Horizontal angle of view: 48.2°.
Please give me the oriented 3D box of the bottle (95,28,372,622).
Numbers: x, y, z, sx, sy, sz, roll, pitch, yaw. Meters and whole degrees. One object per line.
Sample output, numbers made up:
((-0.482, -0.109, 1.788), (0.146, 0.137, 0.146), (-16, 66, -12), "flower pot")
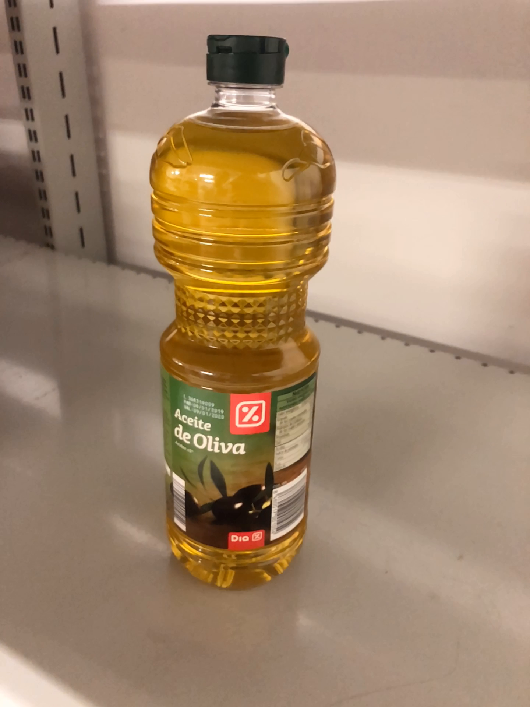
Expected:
((-0.011, 0.001, 0.259), (0.080, 0.248, 0.060), (8, 29, 10), "bottle")
